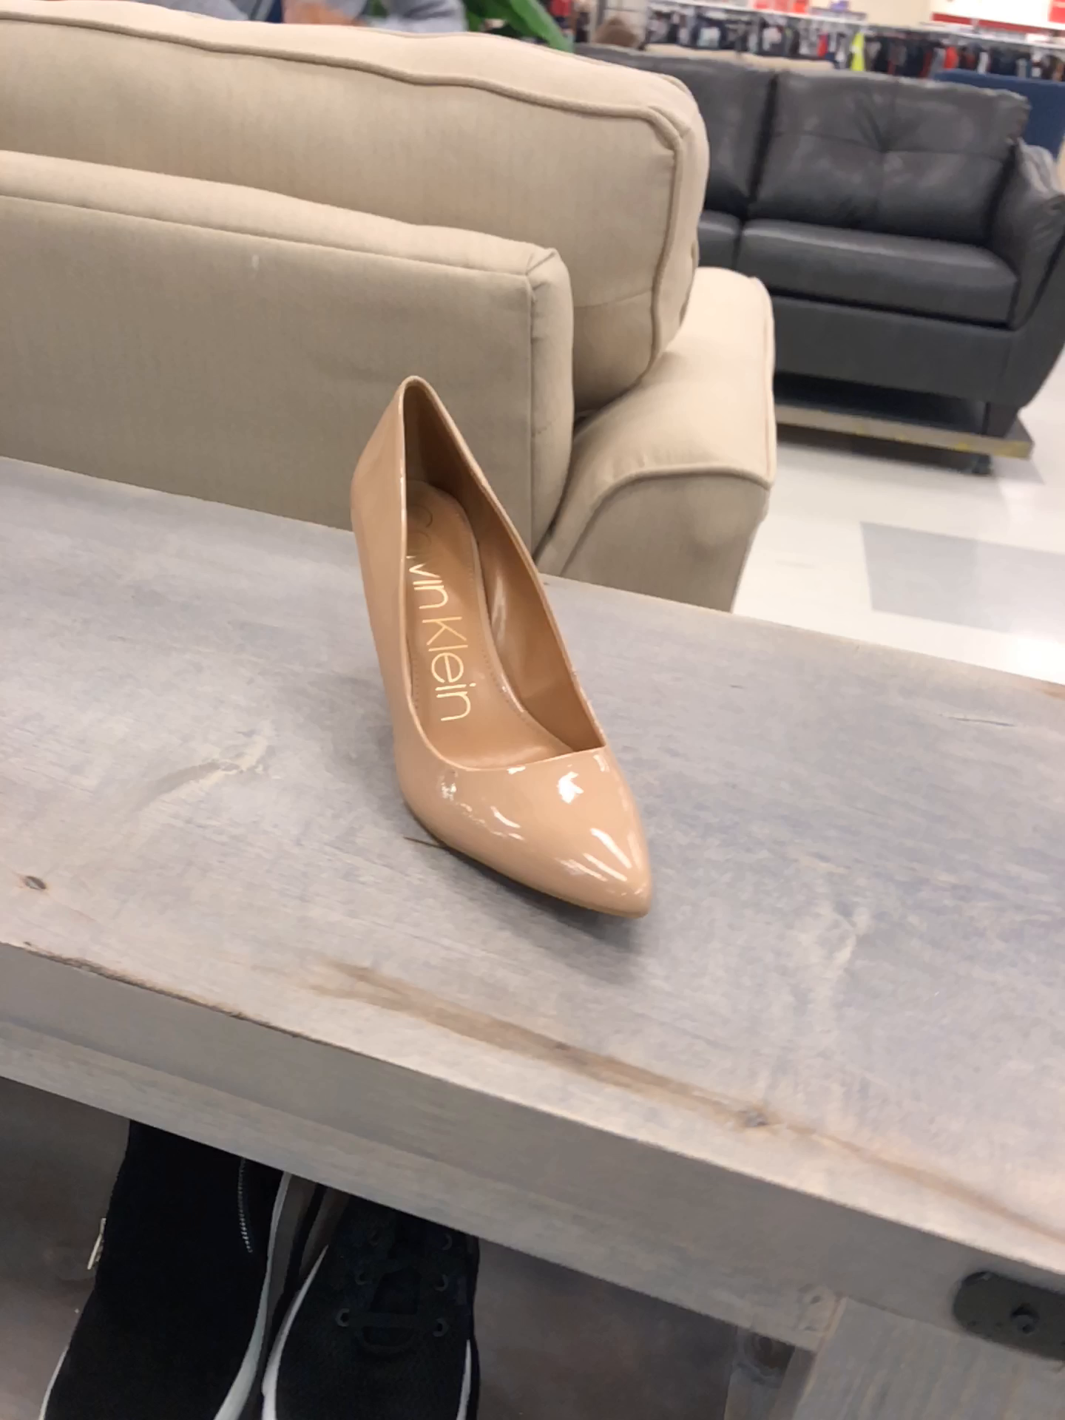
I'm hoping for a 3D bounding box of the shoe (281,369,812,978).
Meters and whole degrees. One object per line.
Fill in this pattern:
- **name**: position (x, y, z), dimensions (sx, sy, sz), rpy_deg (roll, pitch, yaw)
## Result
- **shoe**: position (-0.019, -0.038, 0.486), dimensions (0.096, 0.129, 0.269), rpy_deg (-9, 34, -25)
